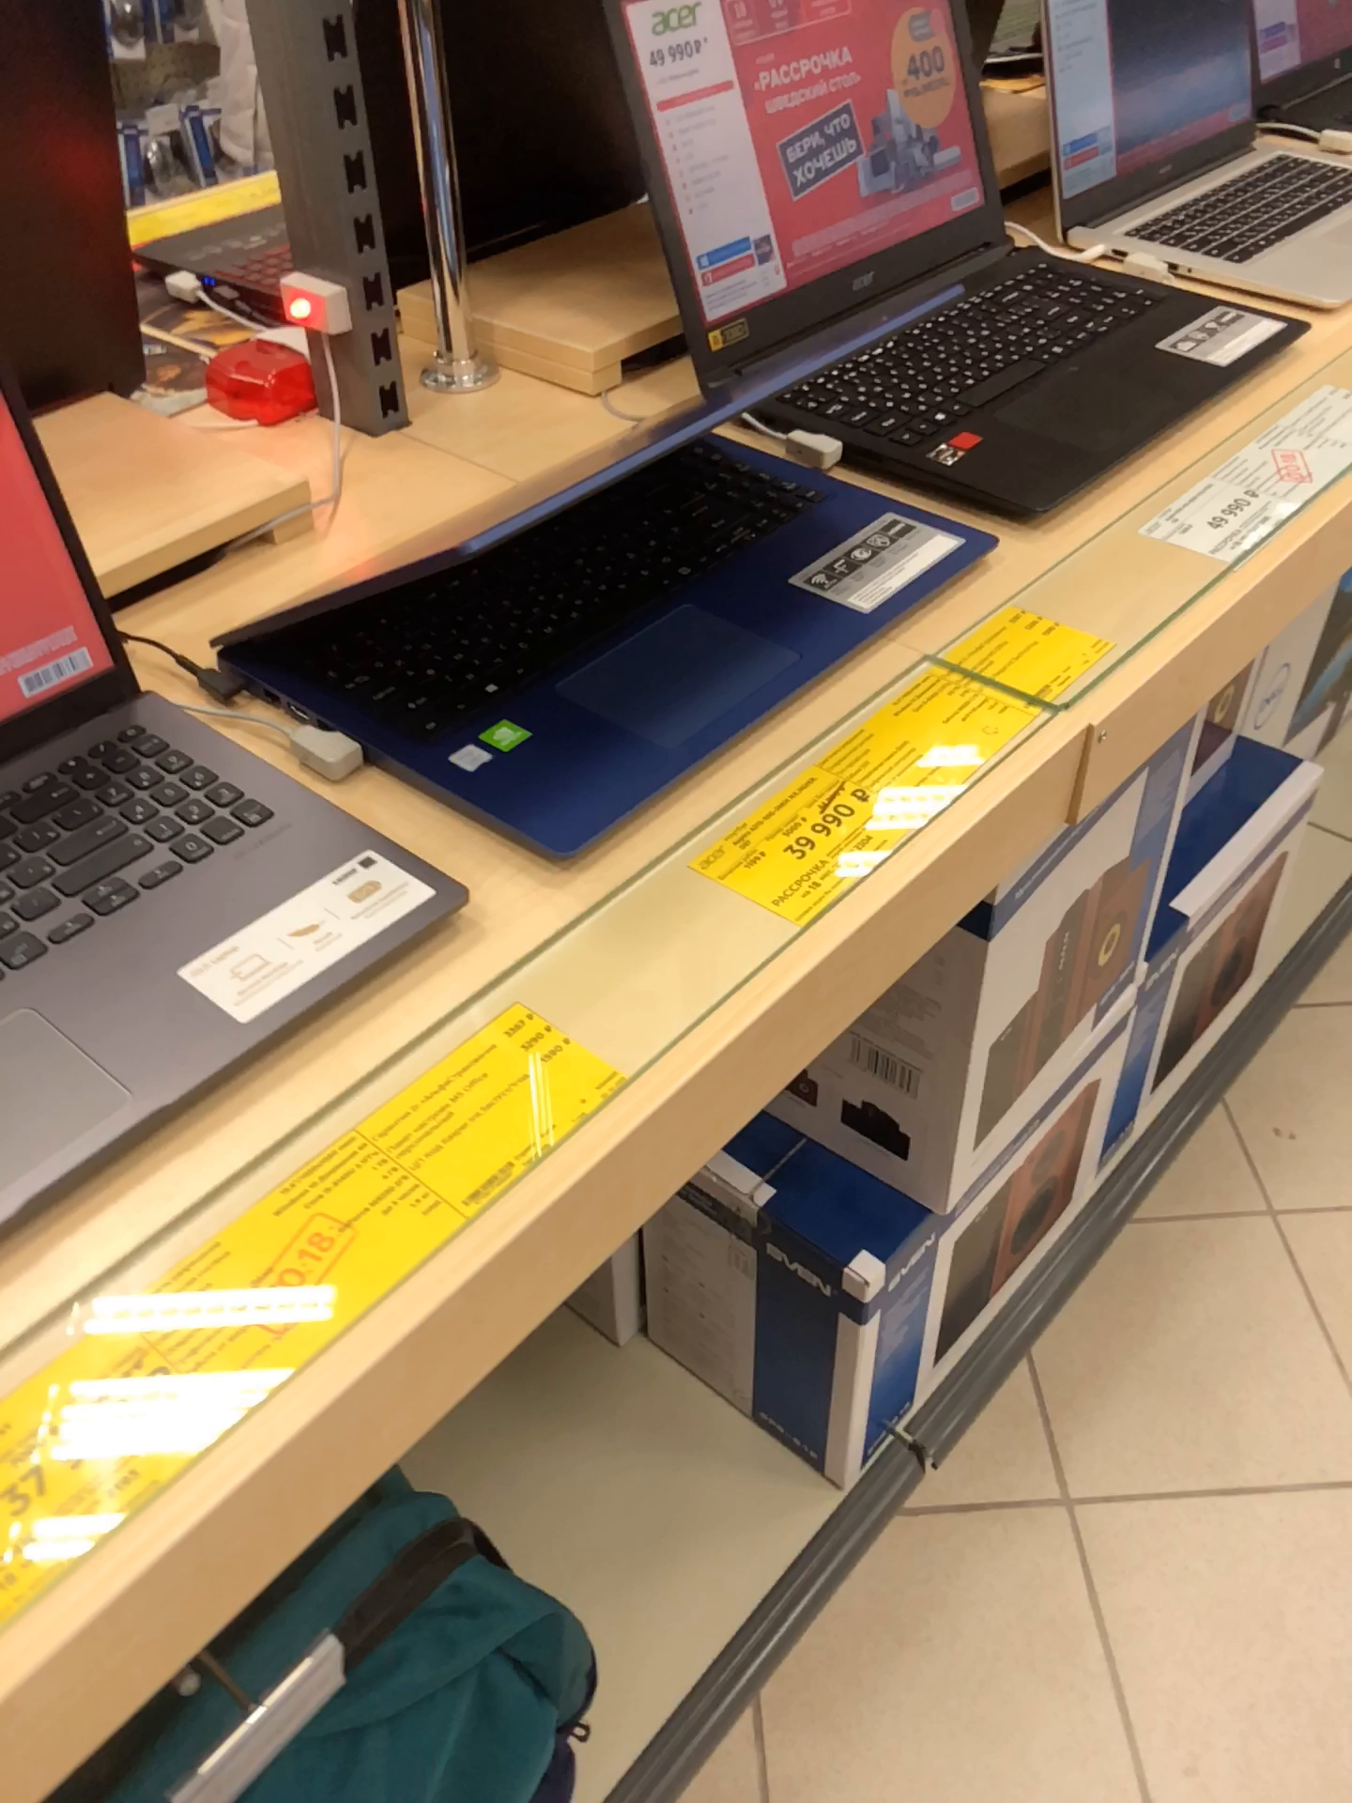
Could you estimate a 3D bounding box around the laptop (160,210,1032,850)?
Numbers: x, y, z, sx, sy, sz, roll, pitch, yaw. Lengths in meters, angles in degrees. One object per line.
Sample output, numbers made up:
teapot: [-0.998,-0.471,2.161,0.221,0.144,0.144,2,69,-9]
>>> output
laptop: [-0.026,-0.219,0.772,0.246,0.126,0.368,30,50,29]

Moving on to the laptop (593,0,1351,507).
laptop: [0.198,-0.494,0.987,0.354,0.226,0.358,32,52,31]

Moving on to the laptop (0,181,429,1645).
laptop: [-0.343,-0.054,0.509,0.303,0.206,0.391,31,49,28]
